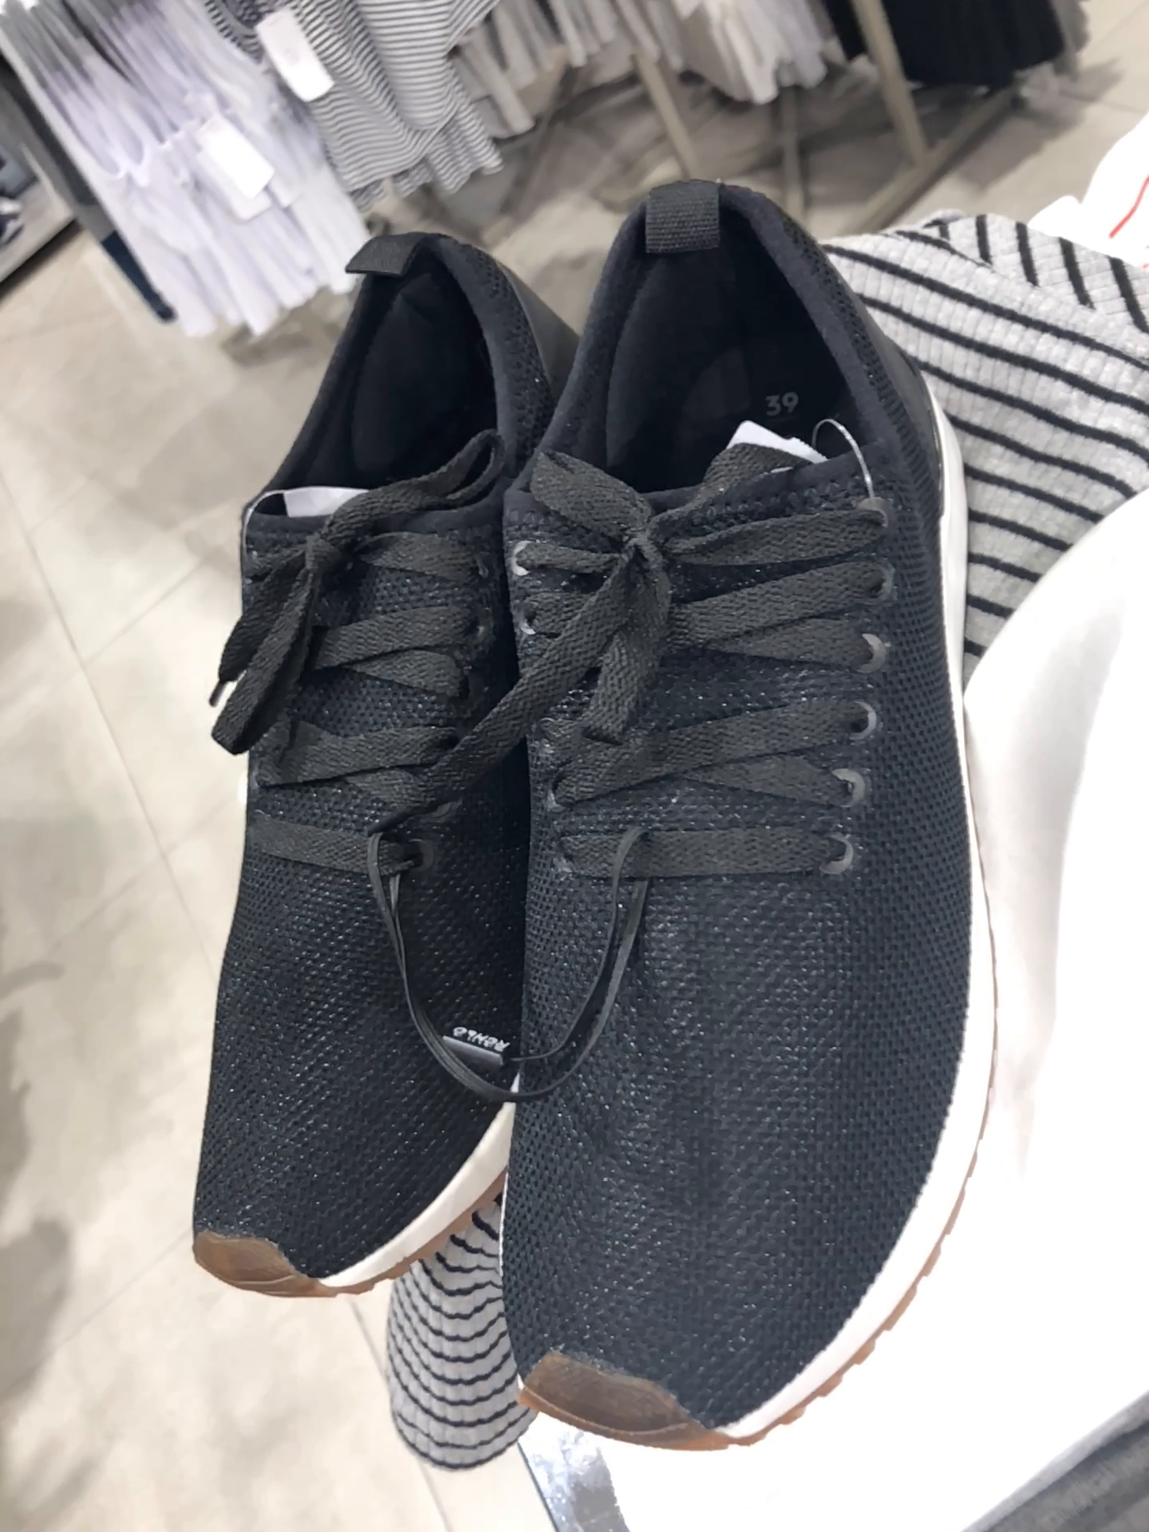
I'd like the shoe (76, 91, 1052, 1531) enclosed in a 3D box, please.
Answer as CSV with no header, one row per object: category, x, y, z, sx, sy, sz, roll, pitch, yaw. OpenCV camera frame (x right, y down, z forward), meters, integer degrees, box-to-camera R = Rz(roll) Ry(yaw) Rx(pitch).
shoe,0.030,0.002,0.273,0.100,0.119,0.271,-4,53,30

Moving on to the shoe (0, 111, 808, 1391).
shoe,-0.039,-0.008,0.314,0.100,0.119,0.261,3,63,34
